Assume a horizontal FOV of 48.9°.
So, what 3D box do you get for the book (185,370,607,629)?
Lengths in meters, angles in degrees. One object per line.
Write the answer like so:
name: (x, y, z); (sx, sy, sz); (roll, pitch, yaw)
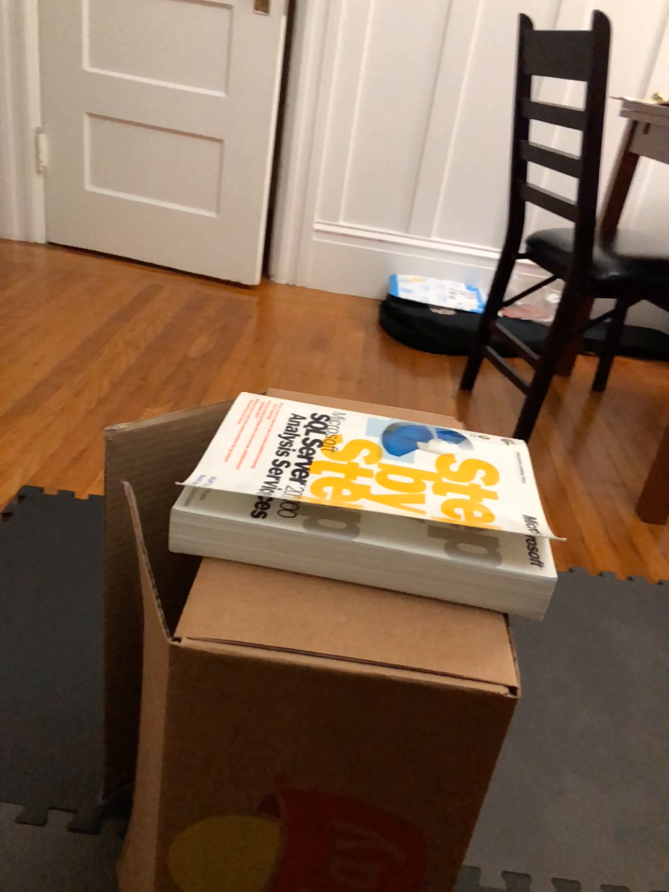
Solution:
book: (0.037, 0.025, 0.515); (0.240, 0.050, 0.201); (7, 30, -1)
